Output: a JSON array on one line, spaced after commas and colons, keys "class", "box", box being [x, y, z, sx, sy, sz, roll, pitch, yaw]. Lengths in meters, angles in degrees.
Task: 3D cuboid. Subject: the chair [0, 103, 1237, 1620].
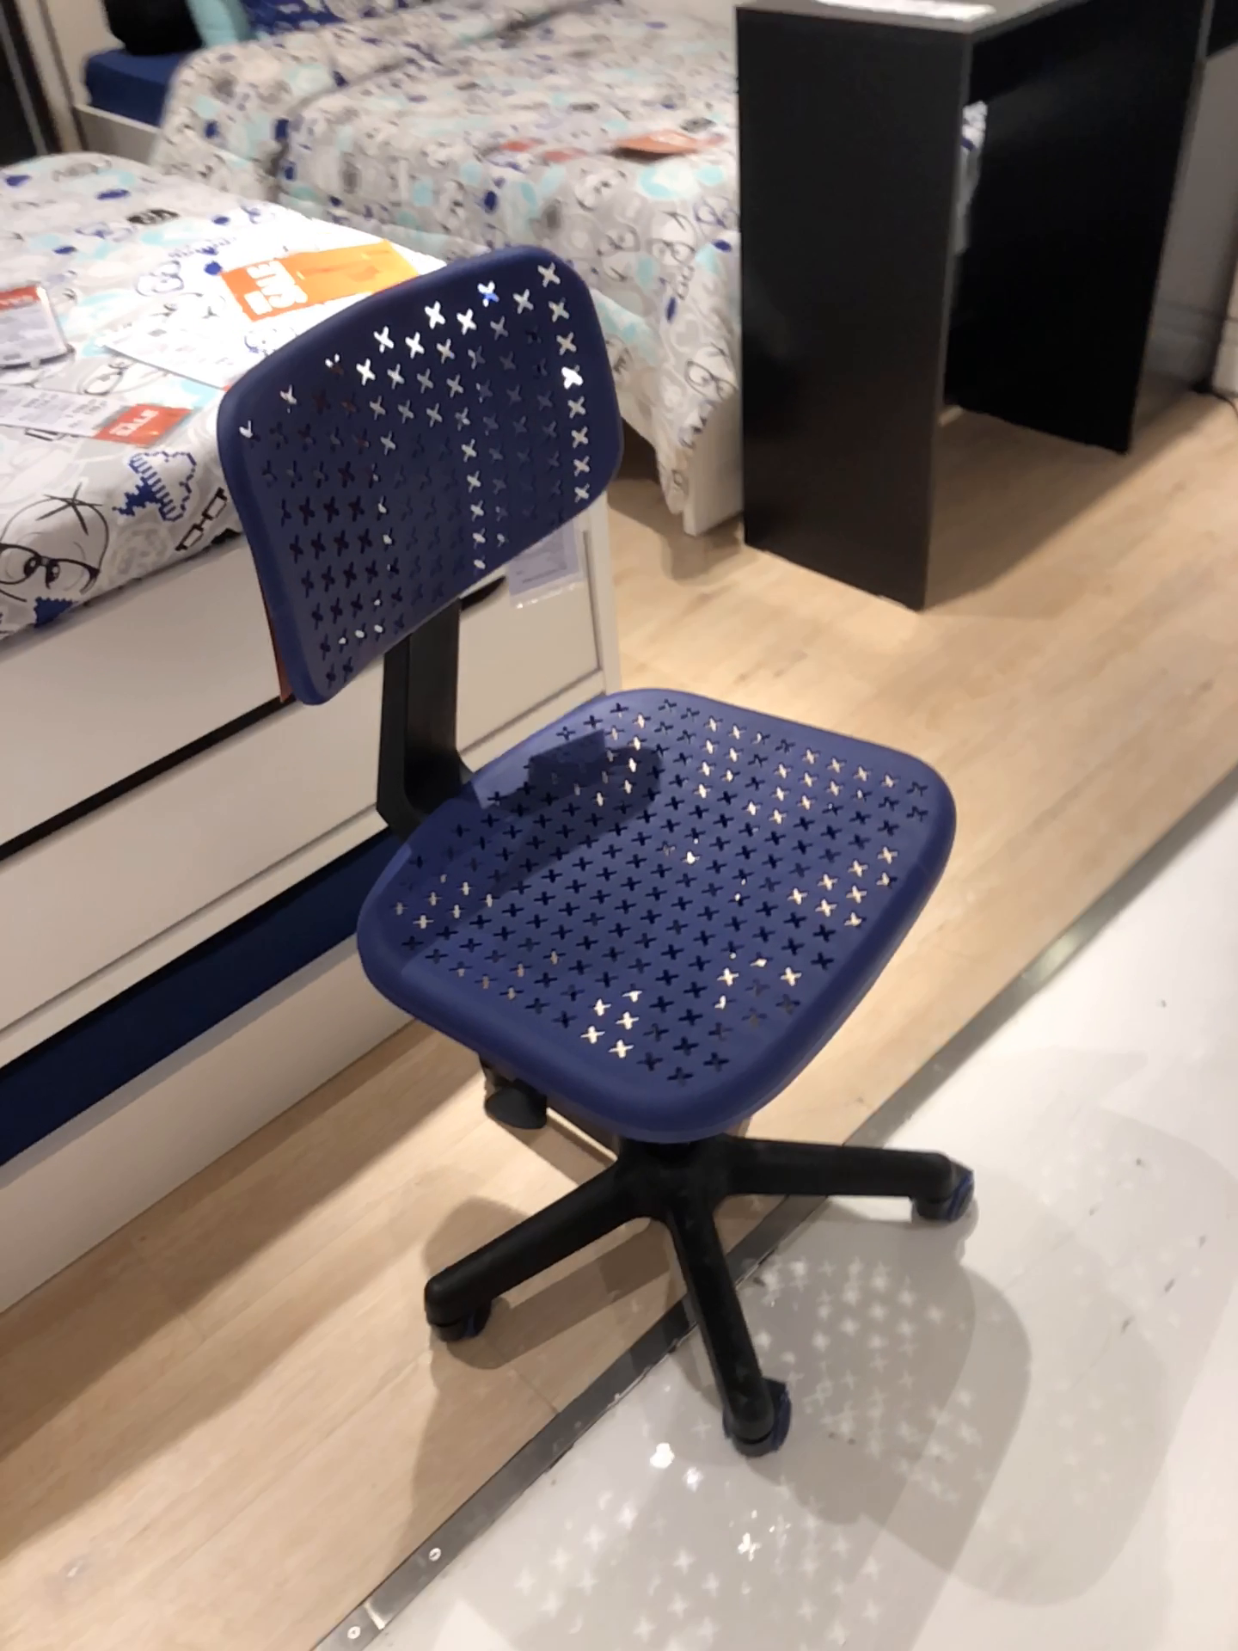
[{"class": "chair", "box": [0.013, 0.015, 1.001, 0.522, 0.814, 0.552, 28, 51, 33]}]
